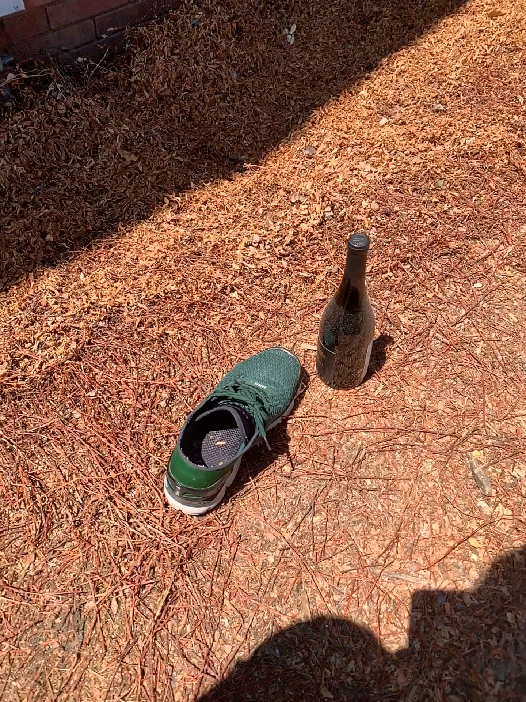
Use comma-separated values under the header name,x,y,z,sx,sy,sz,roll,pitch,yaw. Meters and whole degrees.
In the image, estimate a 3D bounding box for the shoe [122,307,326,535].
name,x,y,z,sx,sy,sz,roll,pitch,yaw
shoe,-0.043,0.086,0.773,0.130,0.099,0.301,27,54,19
